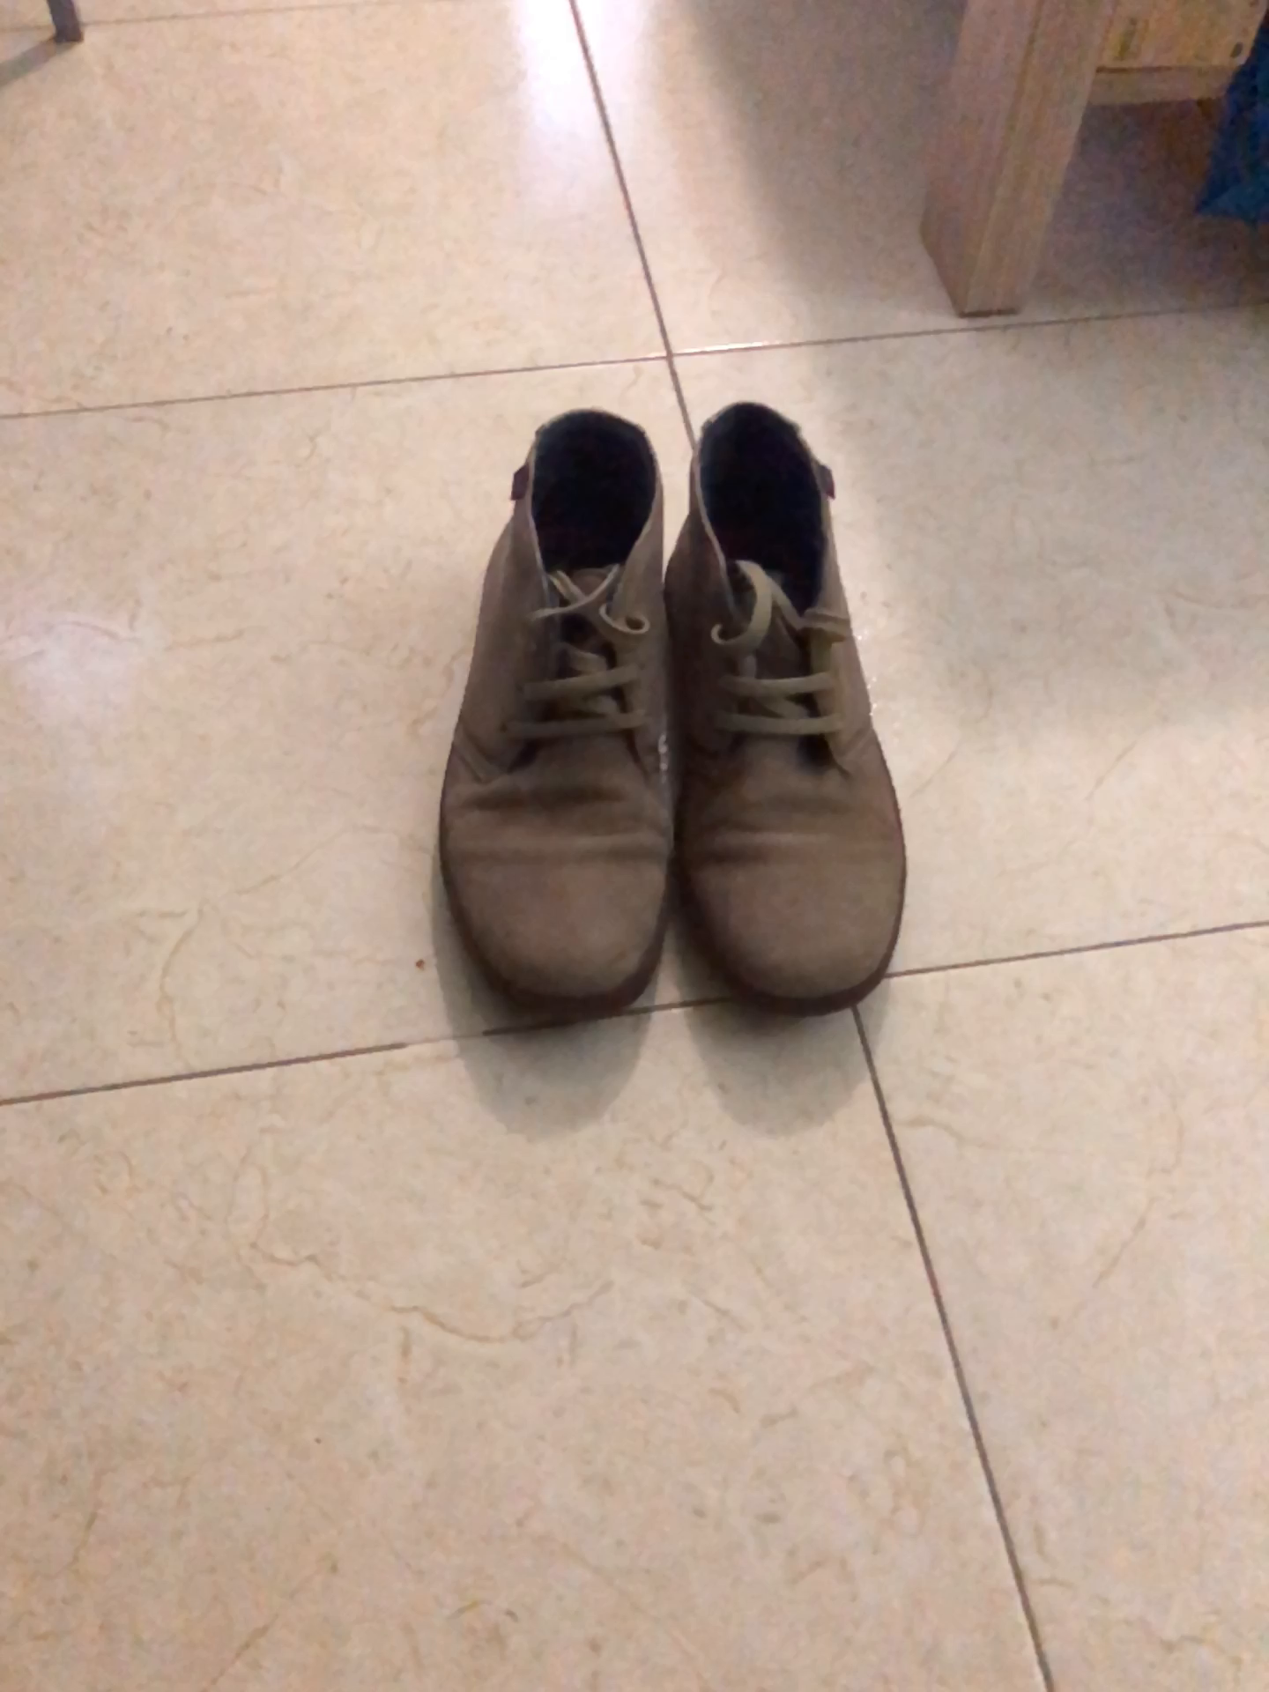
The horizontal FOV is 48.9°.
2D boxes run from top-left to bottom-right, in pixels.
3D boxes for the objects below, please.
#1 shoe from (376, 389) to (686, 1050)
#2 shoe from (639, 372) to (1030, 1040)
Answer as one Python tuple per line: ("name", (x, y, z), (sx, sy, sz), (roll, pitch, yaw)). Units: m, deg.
("shoe", (-0.039, -0.063, 0.623), (0.110, 0.120, 0.281), (0, 56, -1))
("shoe", (0.072, -0.070, 0.623), (0.120, 0.120, 0.281), (-2, 57, -3))
